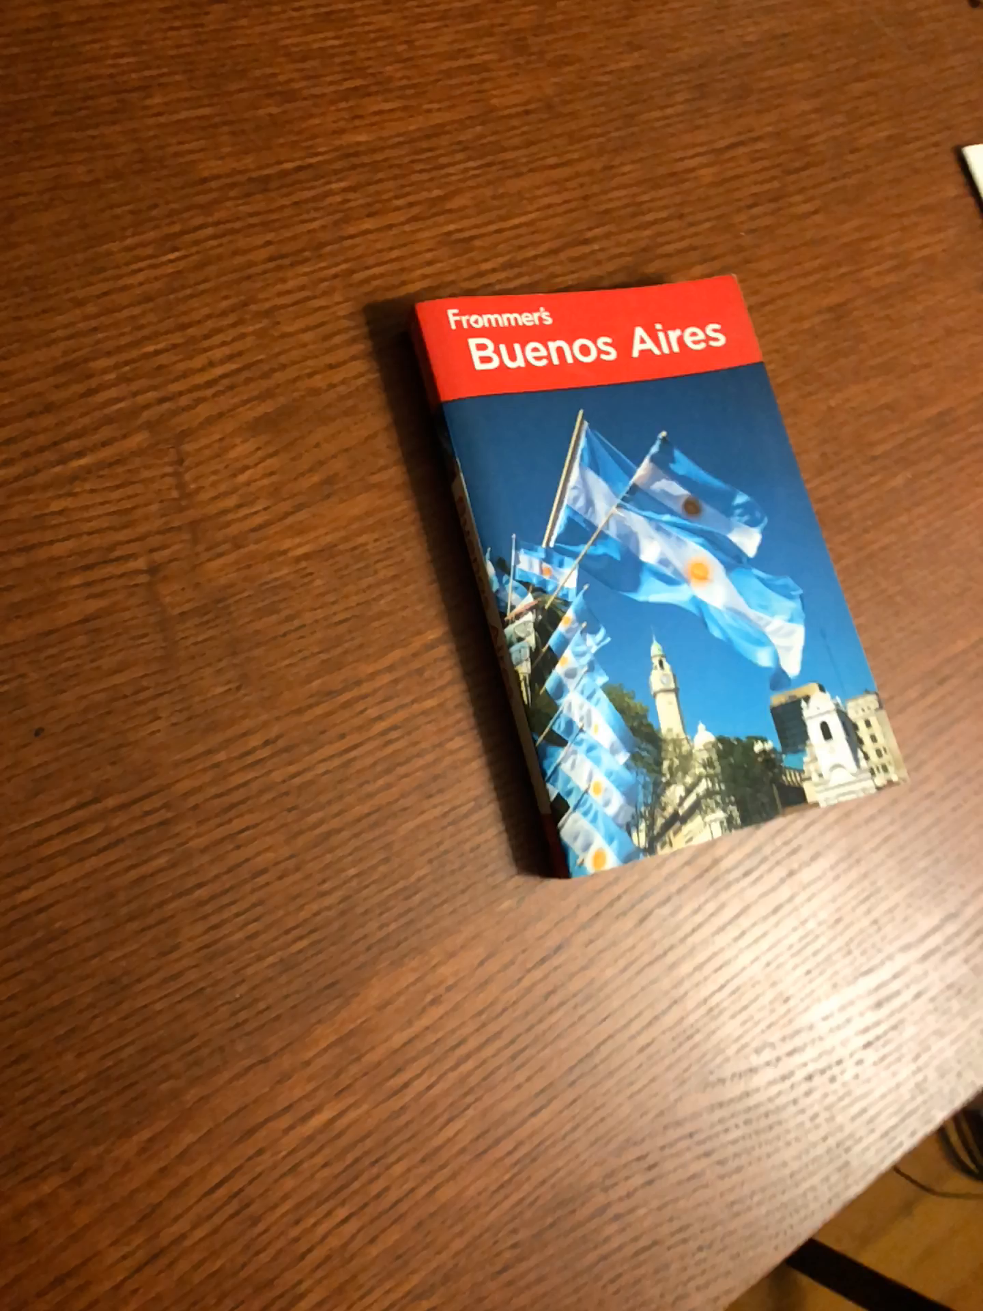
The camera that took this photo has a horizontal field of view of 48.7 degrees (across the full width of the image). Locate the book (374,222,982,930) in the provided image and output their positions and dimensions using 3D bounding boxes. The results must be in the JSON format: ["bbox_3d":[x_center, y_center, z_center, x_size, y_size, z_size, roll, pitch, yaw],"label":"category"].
[{"bbox_3d":[0.067,-0.039,0.373,0.160,0.020,0.220,-14,82,-23],"label":"book"}]
